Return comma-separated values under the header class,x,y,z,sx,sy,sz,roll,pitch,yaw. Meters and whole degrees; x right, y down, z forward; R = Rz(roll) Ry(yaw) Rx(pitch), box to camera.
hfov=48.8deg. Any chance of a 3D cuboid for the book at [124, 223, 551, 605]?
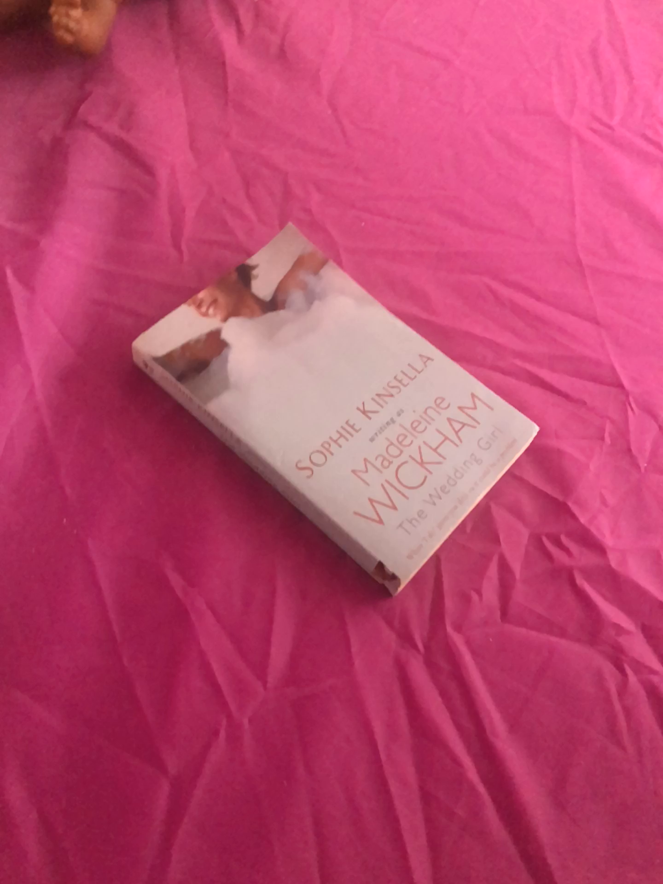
class,x,y,z,sx,sy,sz,roll,pitch,yaw
book,0.003,-0.028,0.417,0.201,0.027,0.135,41,61,14
